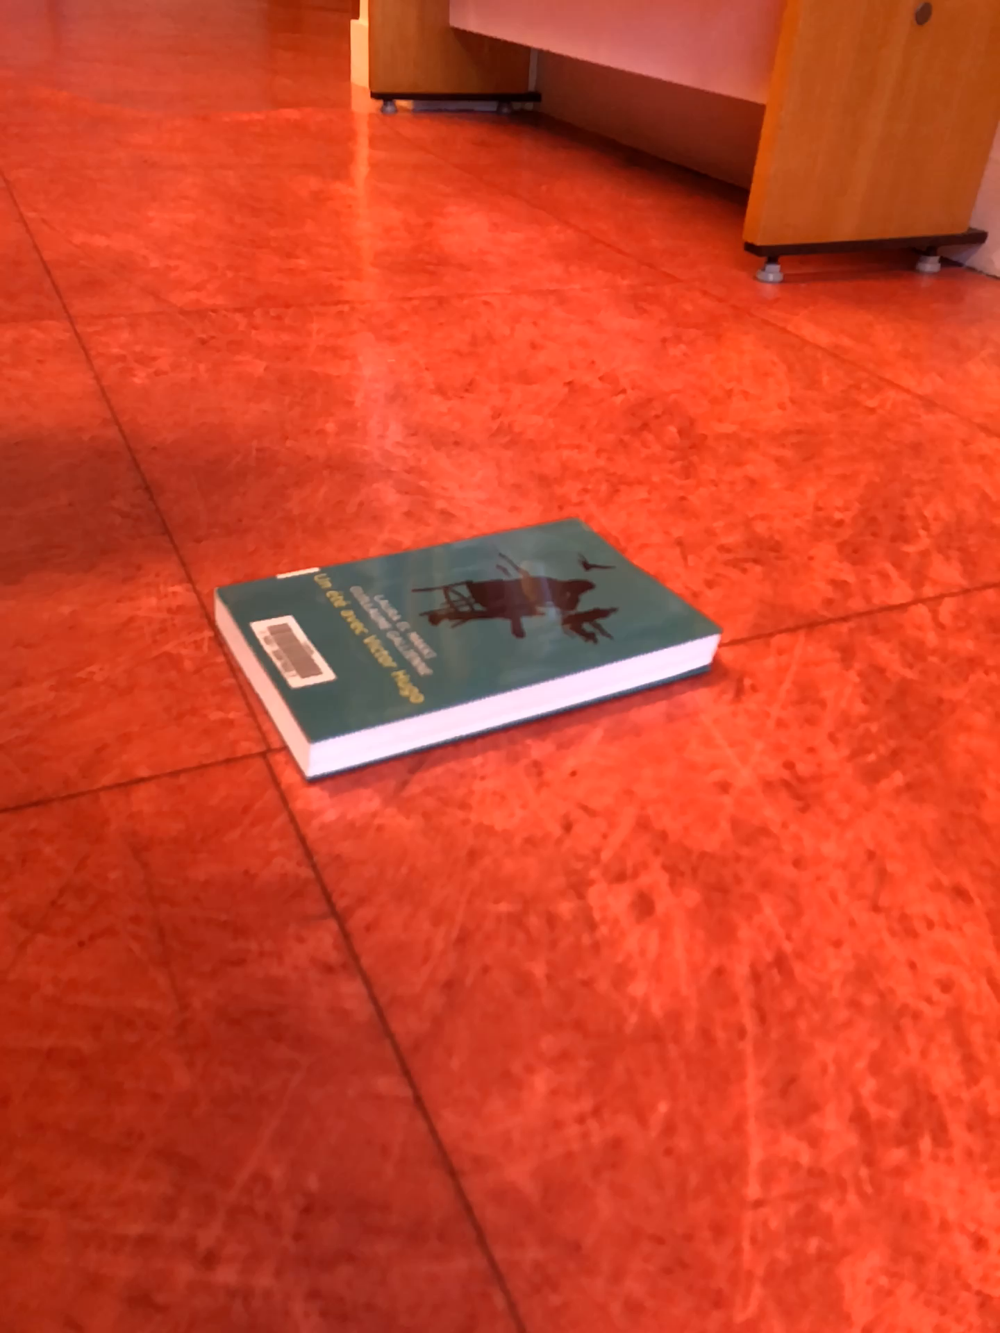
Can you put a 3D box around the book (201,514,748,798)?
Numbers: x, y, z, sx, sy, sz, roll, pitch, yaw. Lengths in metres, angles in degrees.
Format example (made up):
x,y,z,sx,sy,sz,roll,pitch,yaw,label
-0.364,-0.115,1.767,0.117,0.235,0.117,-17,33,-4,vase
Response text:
x,y,z,sx,sy,sz,roll,pitch,yaw,label
-0.011,-0.013,0.407,0.171,0.020,0.110,-13,37,-25,book
